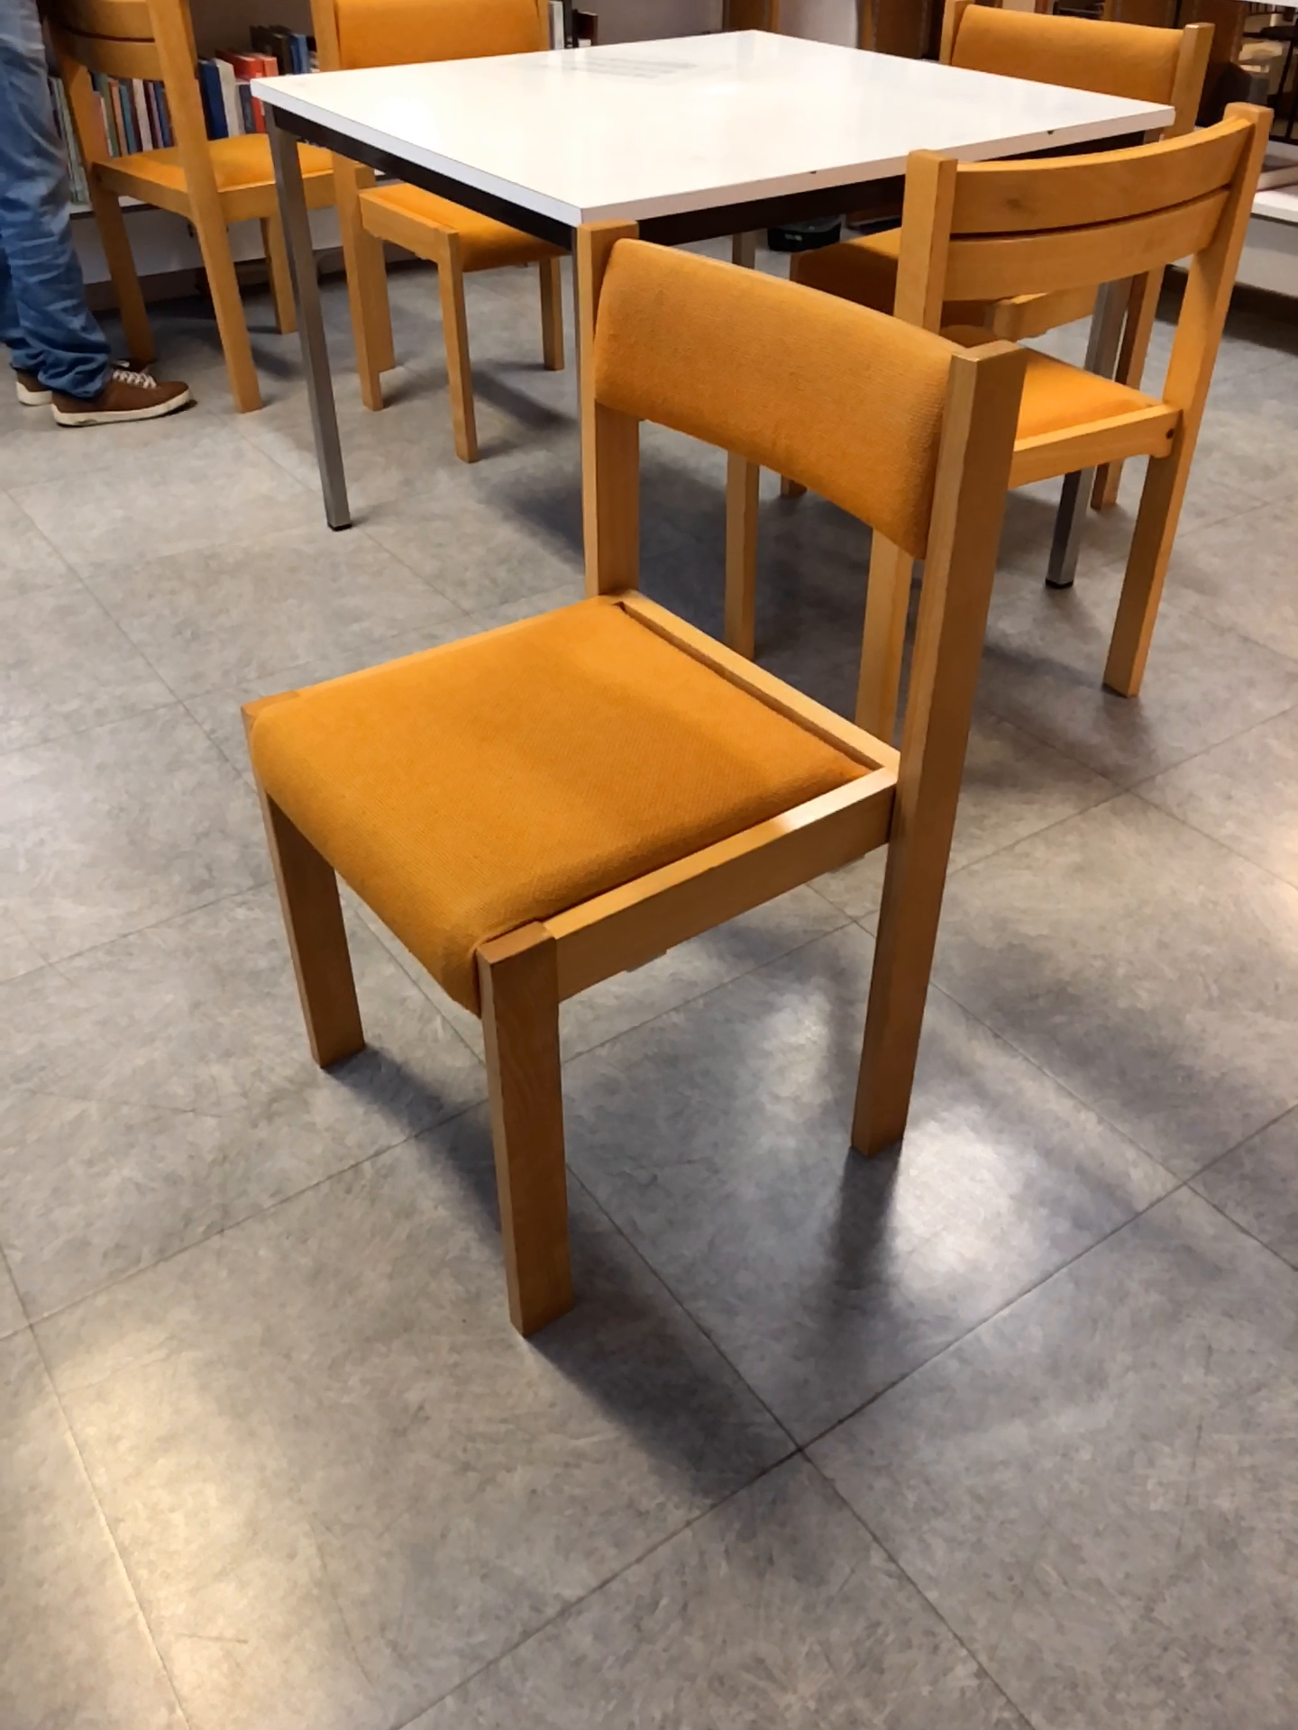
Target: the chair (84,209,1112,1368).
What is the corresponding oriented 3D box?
[{"bbox_3d":[-0.055,-0.105,1.221,0.522,0.696,0.551,-23,42,-27],"label":"chair"}]
